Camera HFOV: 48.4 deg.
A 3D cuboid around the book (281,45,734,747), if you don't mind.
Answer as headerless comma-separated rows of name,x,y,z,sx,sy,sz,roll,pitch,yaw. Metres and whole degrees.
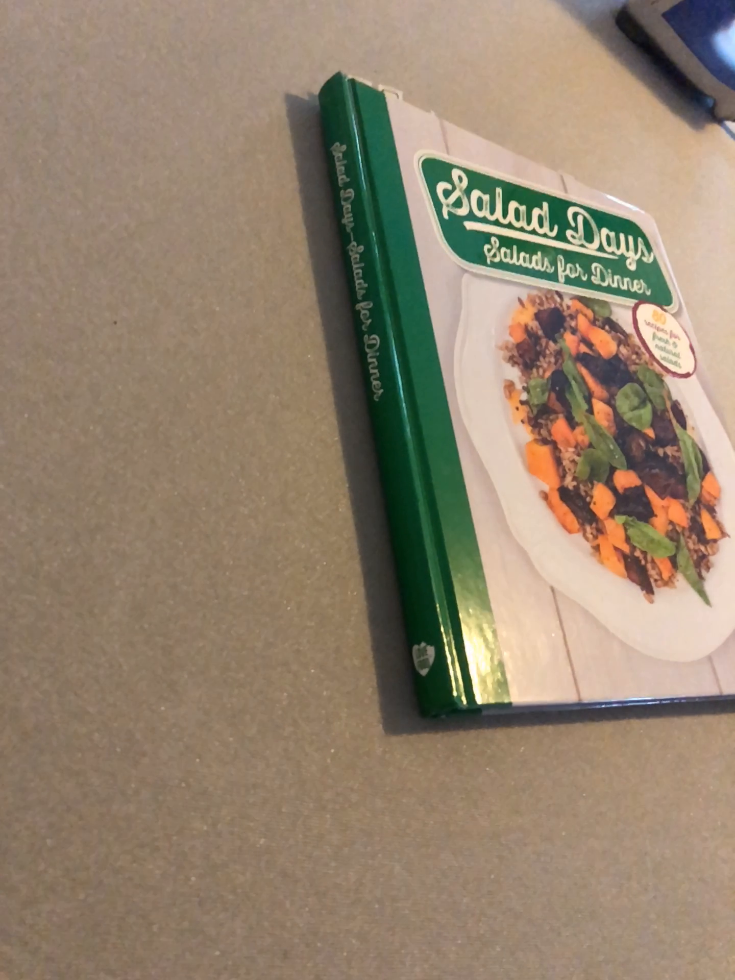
book,0.078,-0.042,0.347,0.214,0.020,0.275,7,61,-34
